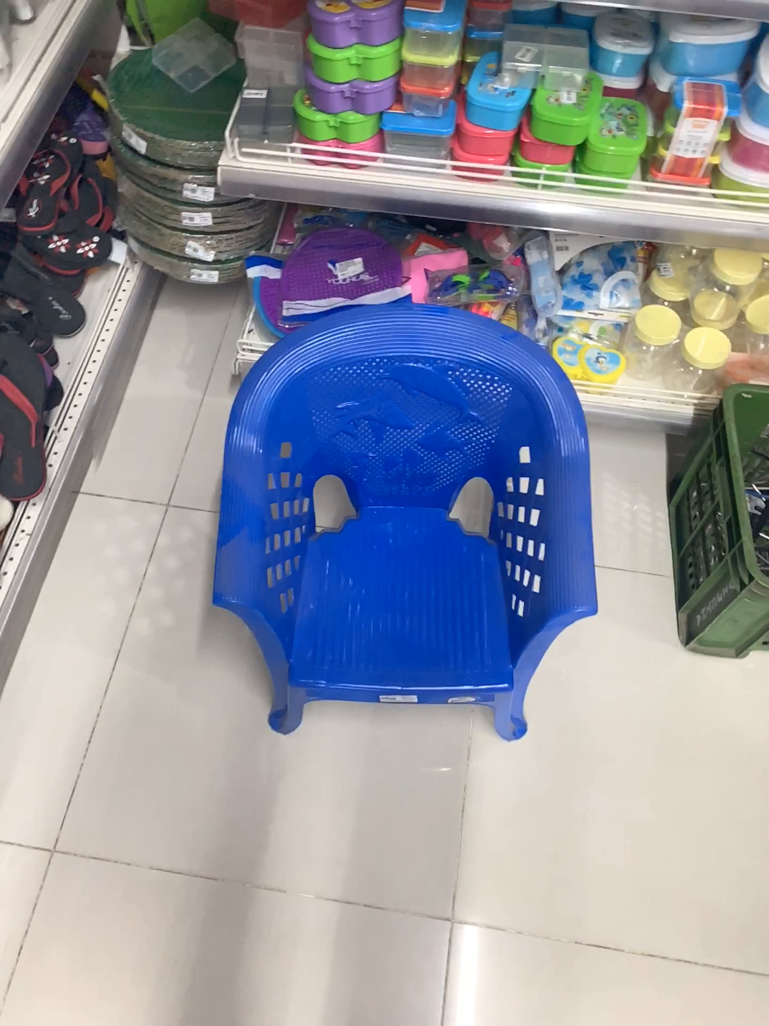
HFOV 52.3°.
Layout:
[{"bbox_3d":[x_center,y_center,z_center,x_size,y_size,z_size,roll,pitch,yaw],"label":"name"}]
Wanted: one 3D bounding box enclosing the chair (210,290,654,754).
[{"bbox_3d":[0.048,0.041,1.057,0.420,0.469,0.451,1,61,1],"label":"chair"}]
